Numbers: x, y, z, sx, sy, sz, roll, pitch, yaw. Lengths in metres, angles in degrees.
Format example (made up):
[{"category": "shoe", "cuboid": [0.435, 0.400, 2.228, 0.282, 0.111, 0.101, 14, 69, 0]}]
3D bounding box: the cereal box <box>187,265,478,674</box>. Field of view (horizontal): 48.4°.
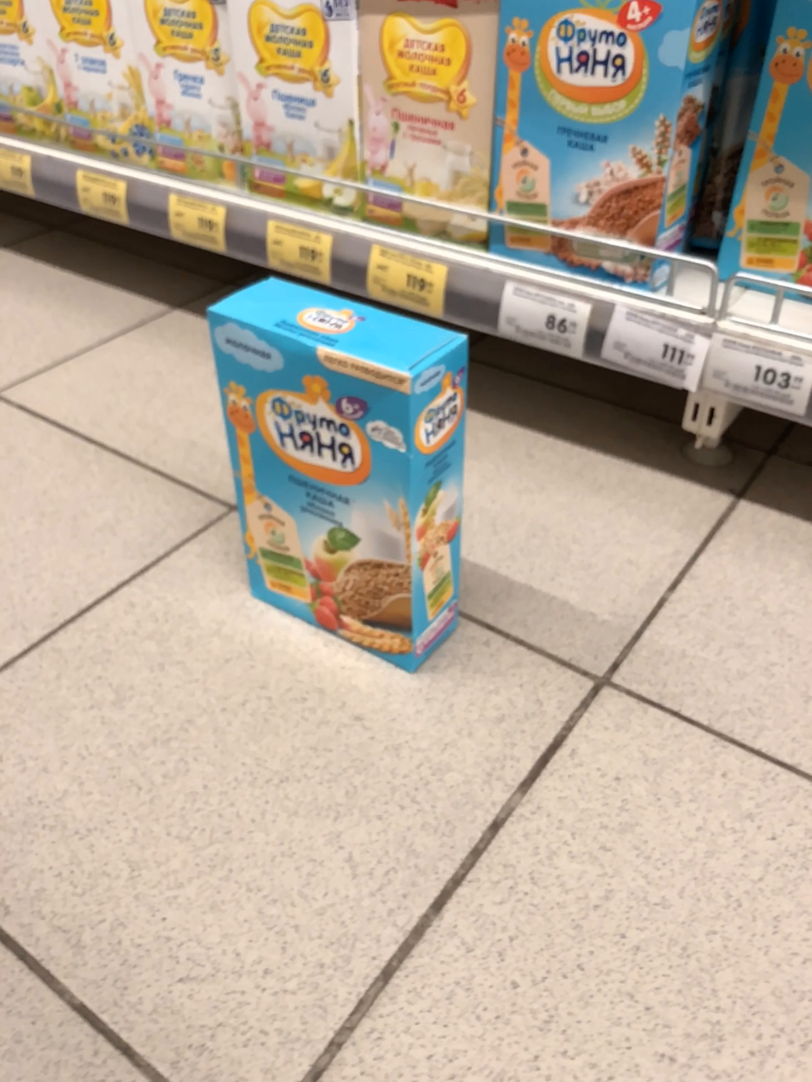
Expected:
[{"category": "cereal box", "cuboid": [-0.038, -0.039, 0.522, 0.140, 0.199, 0.060, 22, 43, 26]}]
